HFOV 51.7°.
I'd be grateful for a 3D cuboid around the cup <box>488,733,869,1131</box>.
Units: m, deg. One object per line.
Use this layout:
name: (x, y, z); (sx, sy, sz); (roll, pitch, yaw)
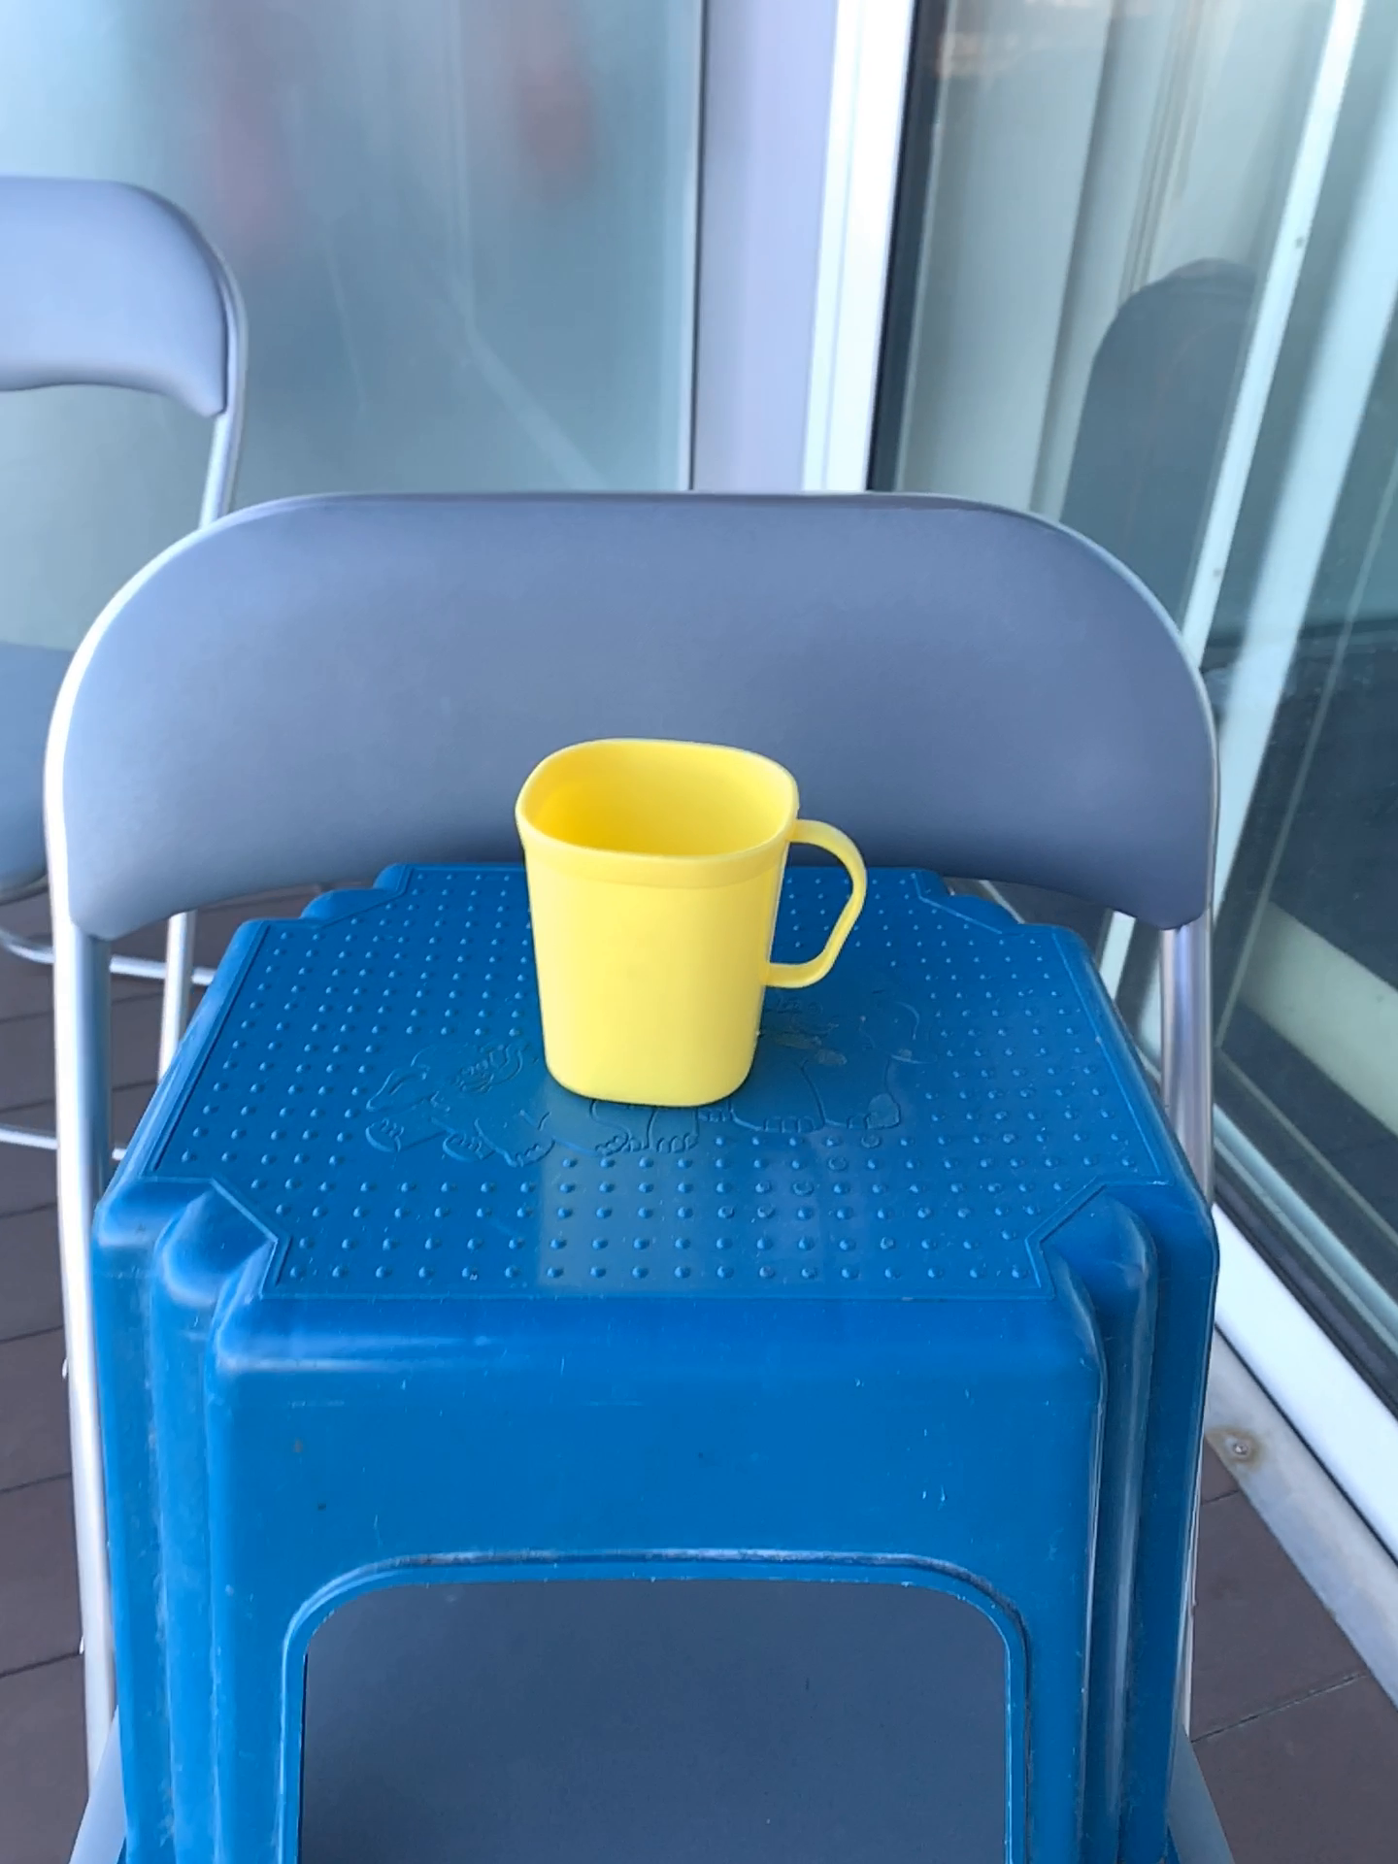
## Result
cup: (-0.002, -0.002, 0.386); (0.089, 0.077, 0.068); (4, 31, 5)
